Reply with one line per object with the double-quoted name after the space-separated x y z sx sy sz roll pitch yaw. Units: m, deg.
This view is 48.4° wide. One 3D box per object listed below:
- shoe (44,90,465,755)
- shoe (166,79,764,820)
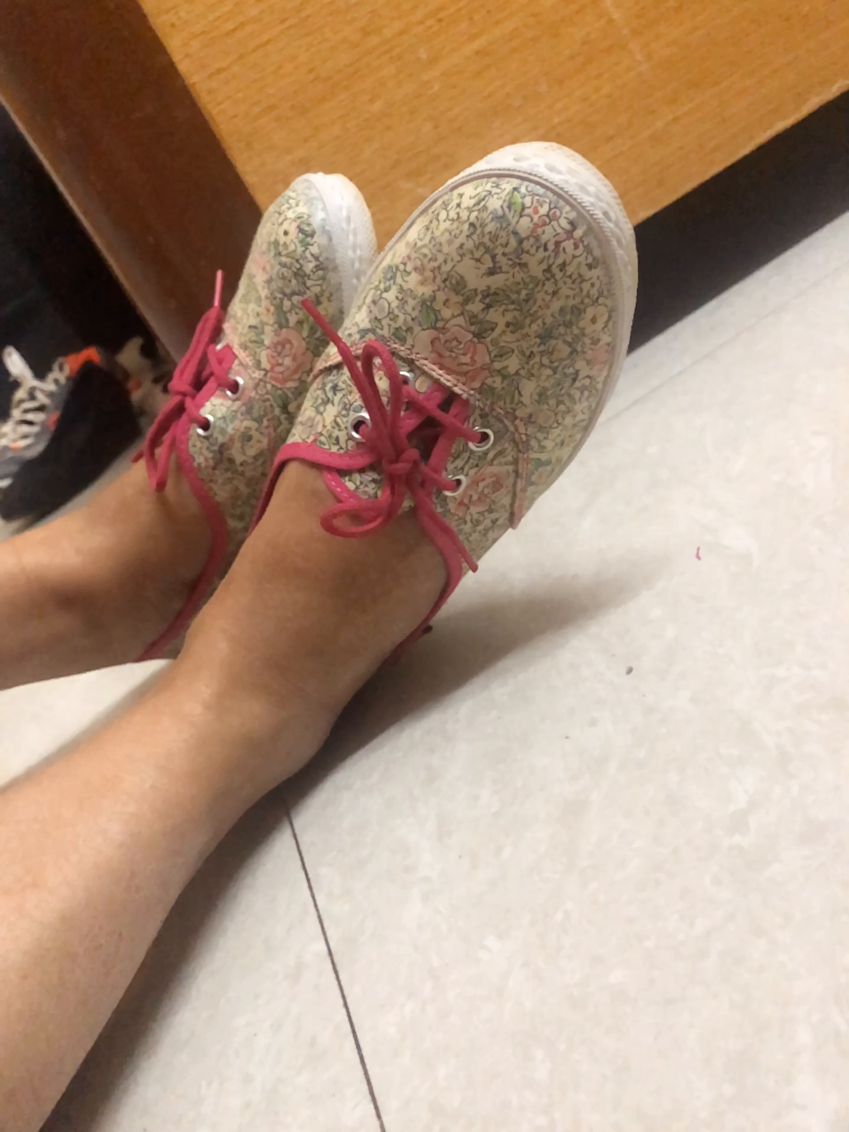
-0.088 -0.041 0.391 0.070 0.091 0.259 -9 -38 -40 "shoe"
-0.004 -0.023 0.341 0.070 0.090 0.259 -46 -9 -50 "shoe"
